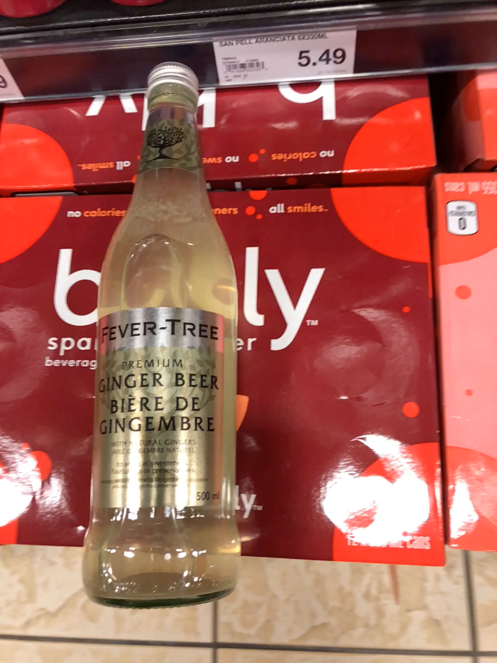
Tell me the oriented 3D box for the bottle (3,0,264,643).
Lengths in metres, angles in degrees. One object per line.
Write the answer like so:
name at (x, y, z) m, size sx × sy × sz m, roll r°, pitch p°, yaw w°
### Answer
bottle at (-0.043, -0.020, 0.252) m, size 0.080 × 0.080 × 0.270 m, roll -4°, pitch 74°, yaw 5°
